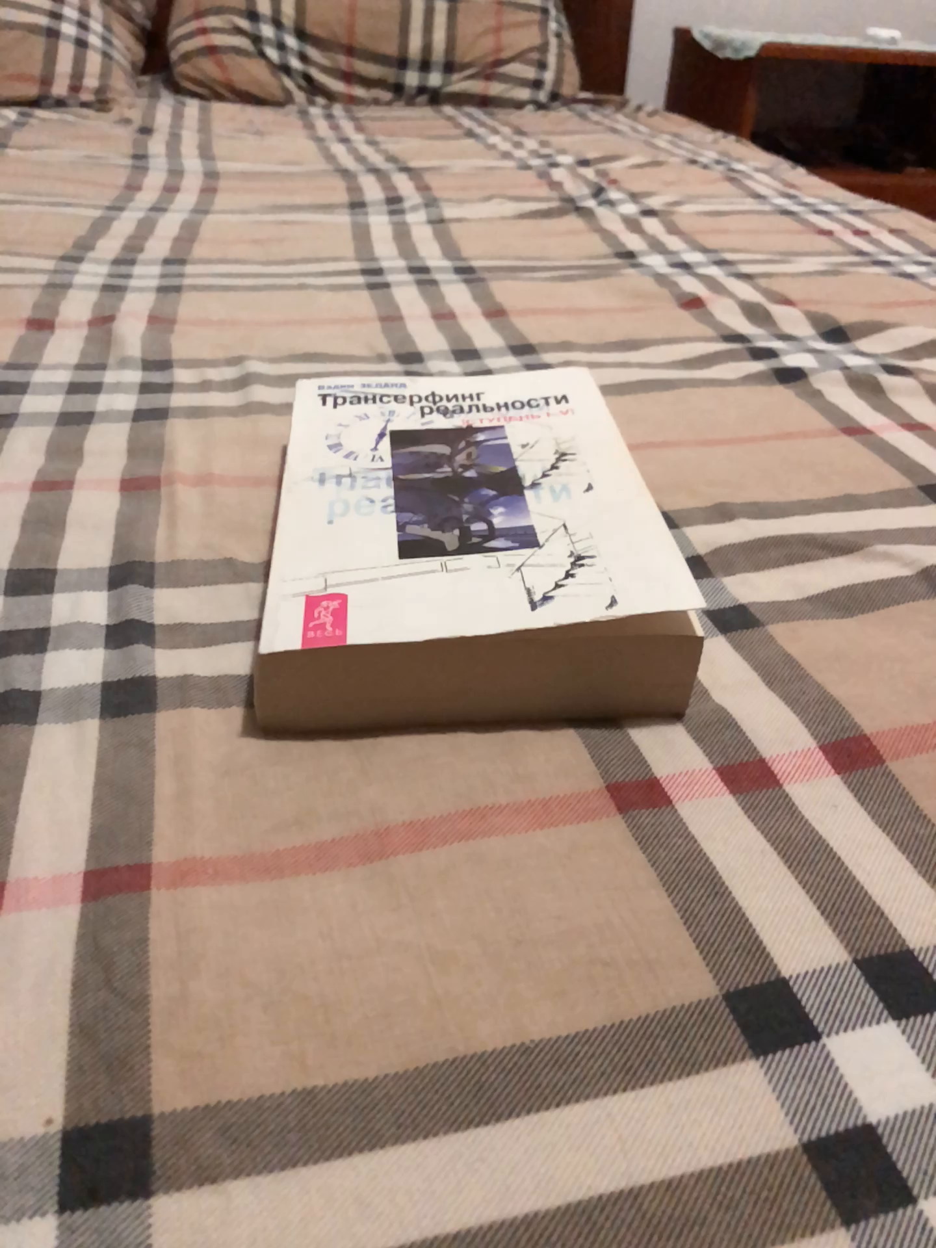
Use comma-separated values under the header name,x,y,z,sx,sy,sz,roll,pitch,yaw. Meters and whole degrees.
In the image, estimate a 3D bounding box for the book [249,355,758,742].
name,x,y,z,sx,sy,sz,roll,pitch,yaw
book,0.000,-0.041,0.378,0.143,0.037,0.203,0,36,-7
